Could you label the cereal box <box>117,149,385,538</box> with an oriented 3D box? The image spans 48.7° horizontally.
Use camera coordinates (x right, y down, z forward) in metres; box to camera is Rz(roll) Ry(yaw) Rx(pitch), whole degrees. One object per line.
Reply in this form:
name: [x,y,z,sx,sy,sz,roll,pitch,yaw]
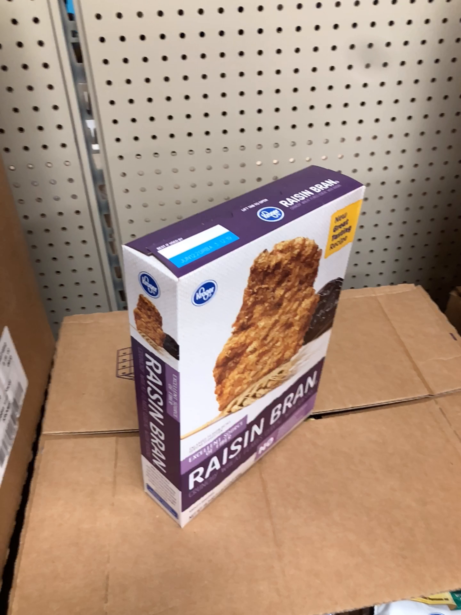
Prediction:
cereal box: [0.017,0.039,0.411,0.190,0.279,0.050,-31,51,-33]
